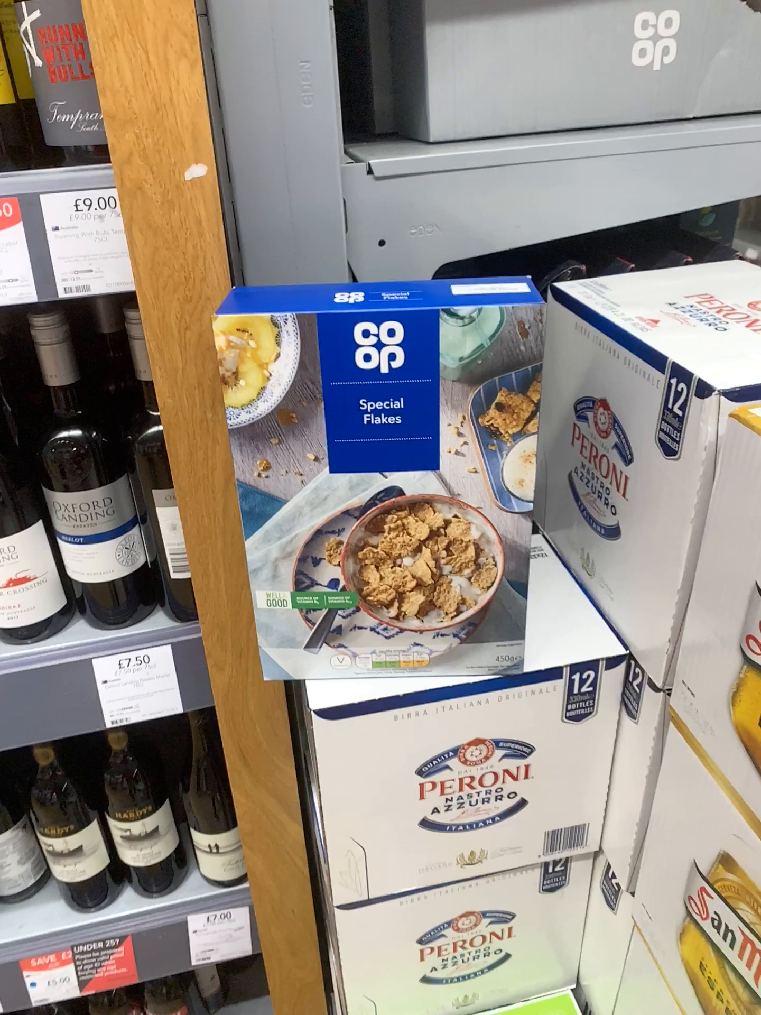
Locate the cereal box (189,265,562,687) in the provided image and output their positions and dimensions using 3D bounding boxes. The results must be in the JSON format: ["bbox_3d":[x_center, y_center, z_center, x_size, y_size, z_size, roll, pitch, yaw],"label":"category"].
[{"bbox_3d":[0.004,-0.010,0.516,0.200,0.267,0.071,-2,30,2],"label":"cereal box"}]
